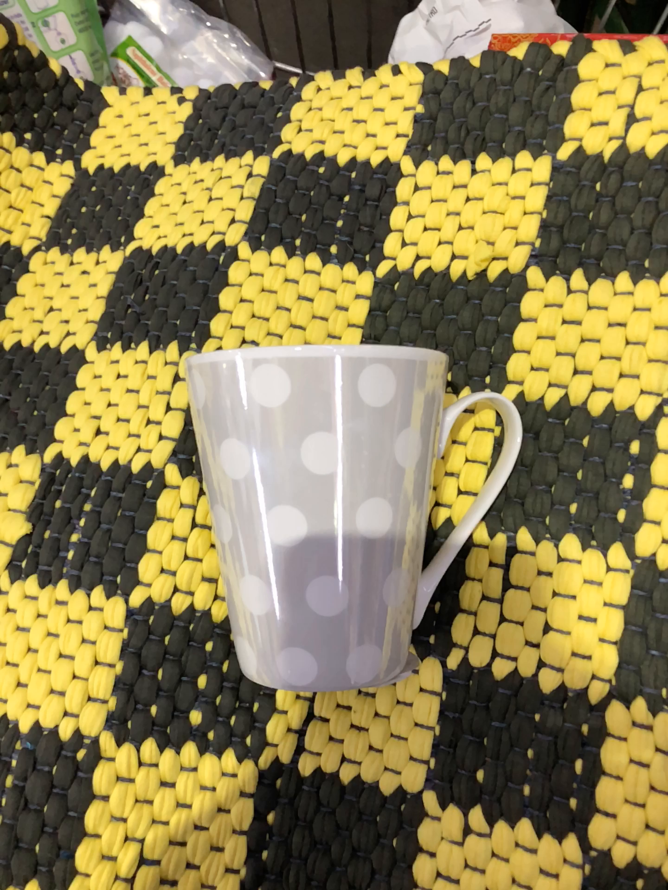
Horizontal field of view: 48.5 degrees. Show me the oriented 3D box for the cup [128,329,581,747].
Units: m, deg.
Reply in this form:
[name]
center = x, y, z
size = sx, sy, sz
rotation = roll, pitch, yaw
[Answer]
[cup]
center = 0.005, 0.021, 0.246
size = 0.120, 0.090, 0.100
rotation = -1, 90, -31
